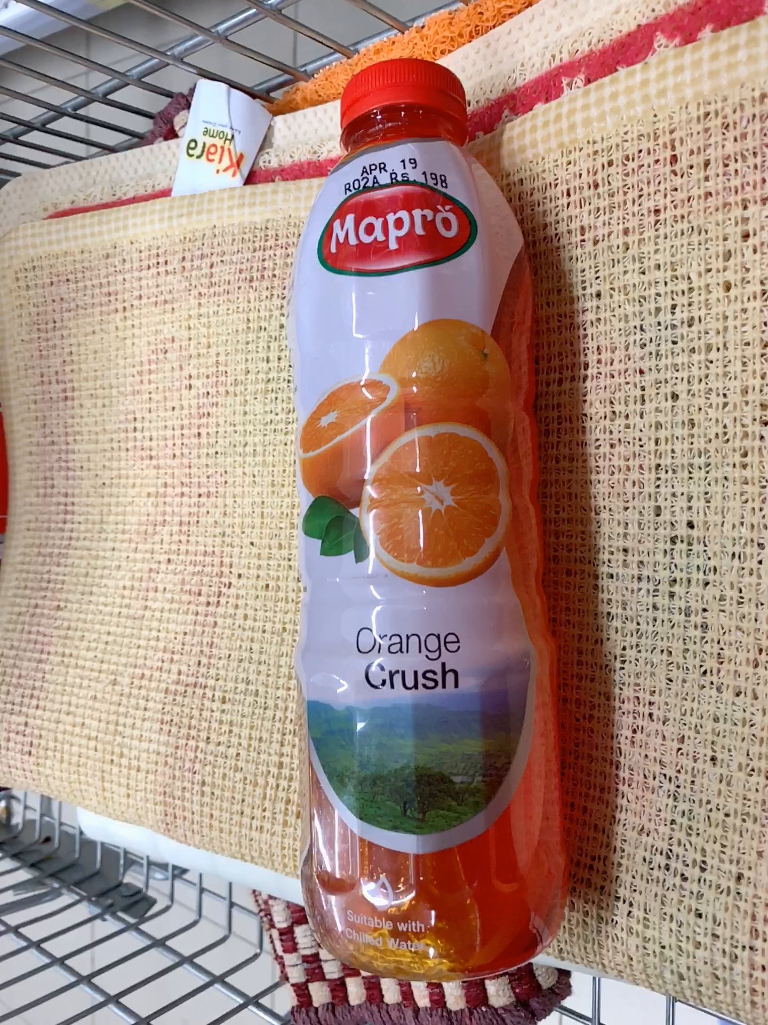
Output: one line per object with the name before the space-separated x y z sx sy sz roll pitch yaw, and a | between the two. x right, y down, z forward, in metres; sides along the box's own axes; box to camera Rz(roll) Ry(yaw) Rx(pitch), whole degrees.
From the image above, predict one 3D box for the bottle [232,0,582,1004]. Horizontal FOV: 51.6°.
bottle | 0.010 -0.013 0.218 0.080 0.070 0.240 -1 87 13
